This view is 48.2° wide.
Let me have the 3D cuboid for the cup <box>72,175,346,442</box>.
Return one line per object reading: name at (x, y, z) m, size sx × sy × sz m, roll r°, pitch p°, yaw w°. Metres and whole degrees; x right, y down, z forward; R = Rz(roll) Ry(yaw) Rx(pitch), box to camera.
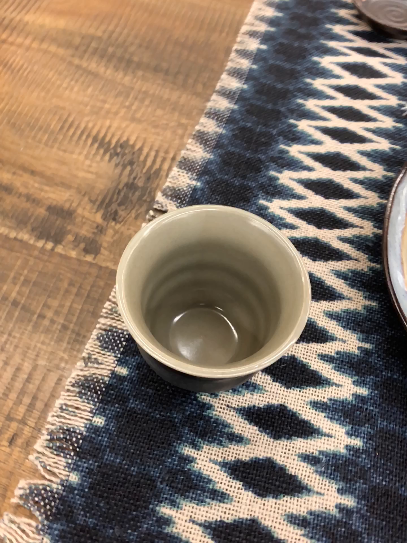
cup at (0.005, 0.015, 0.200) m, size 0.084 × 0.048 × 0.079 m, roll 1°, pitch 61°, yaw -2°
